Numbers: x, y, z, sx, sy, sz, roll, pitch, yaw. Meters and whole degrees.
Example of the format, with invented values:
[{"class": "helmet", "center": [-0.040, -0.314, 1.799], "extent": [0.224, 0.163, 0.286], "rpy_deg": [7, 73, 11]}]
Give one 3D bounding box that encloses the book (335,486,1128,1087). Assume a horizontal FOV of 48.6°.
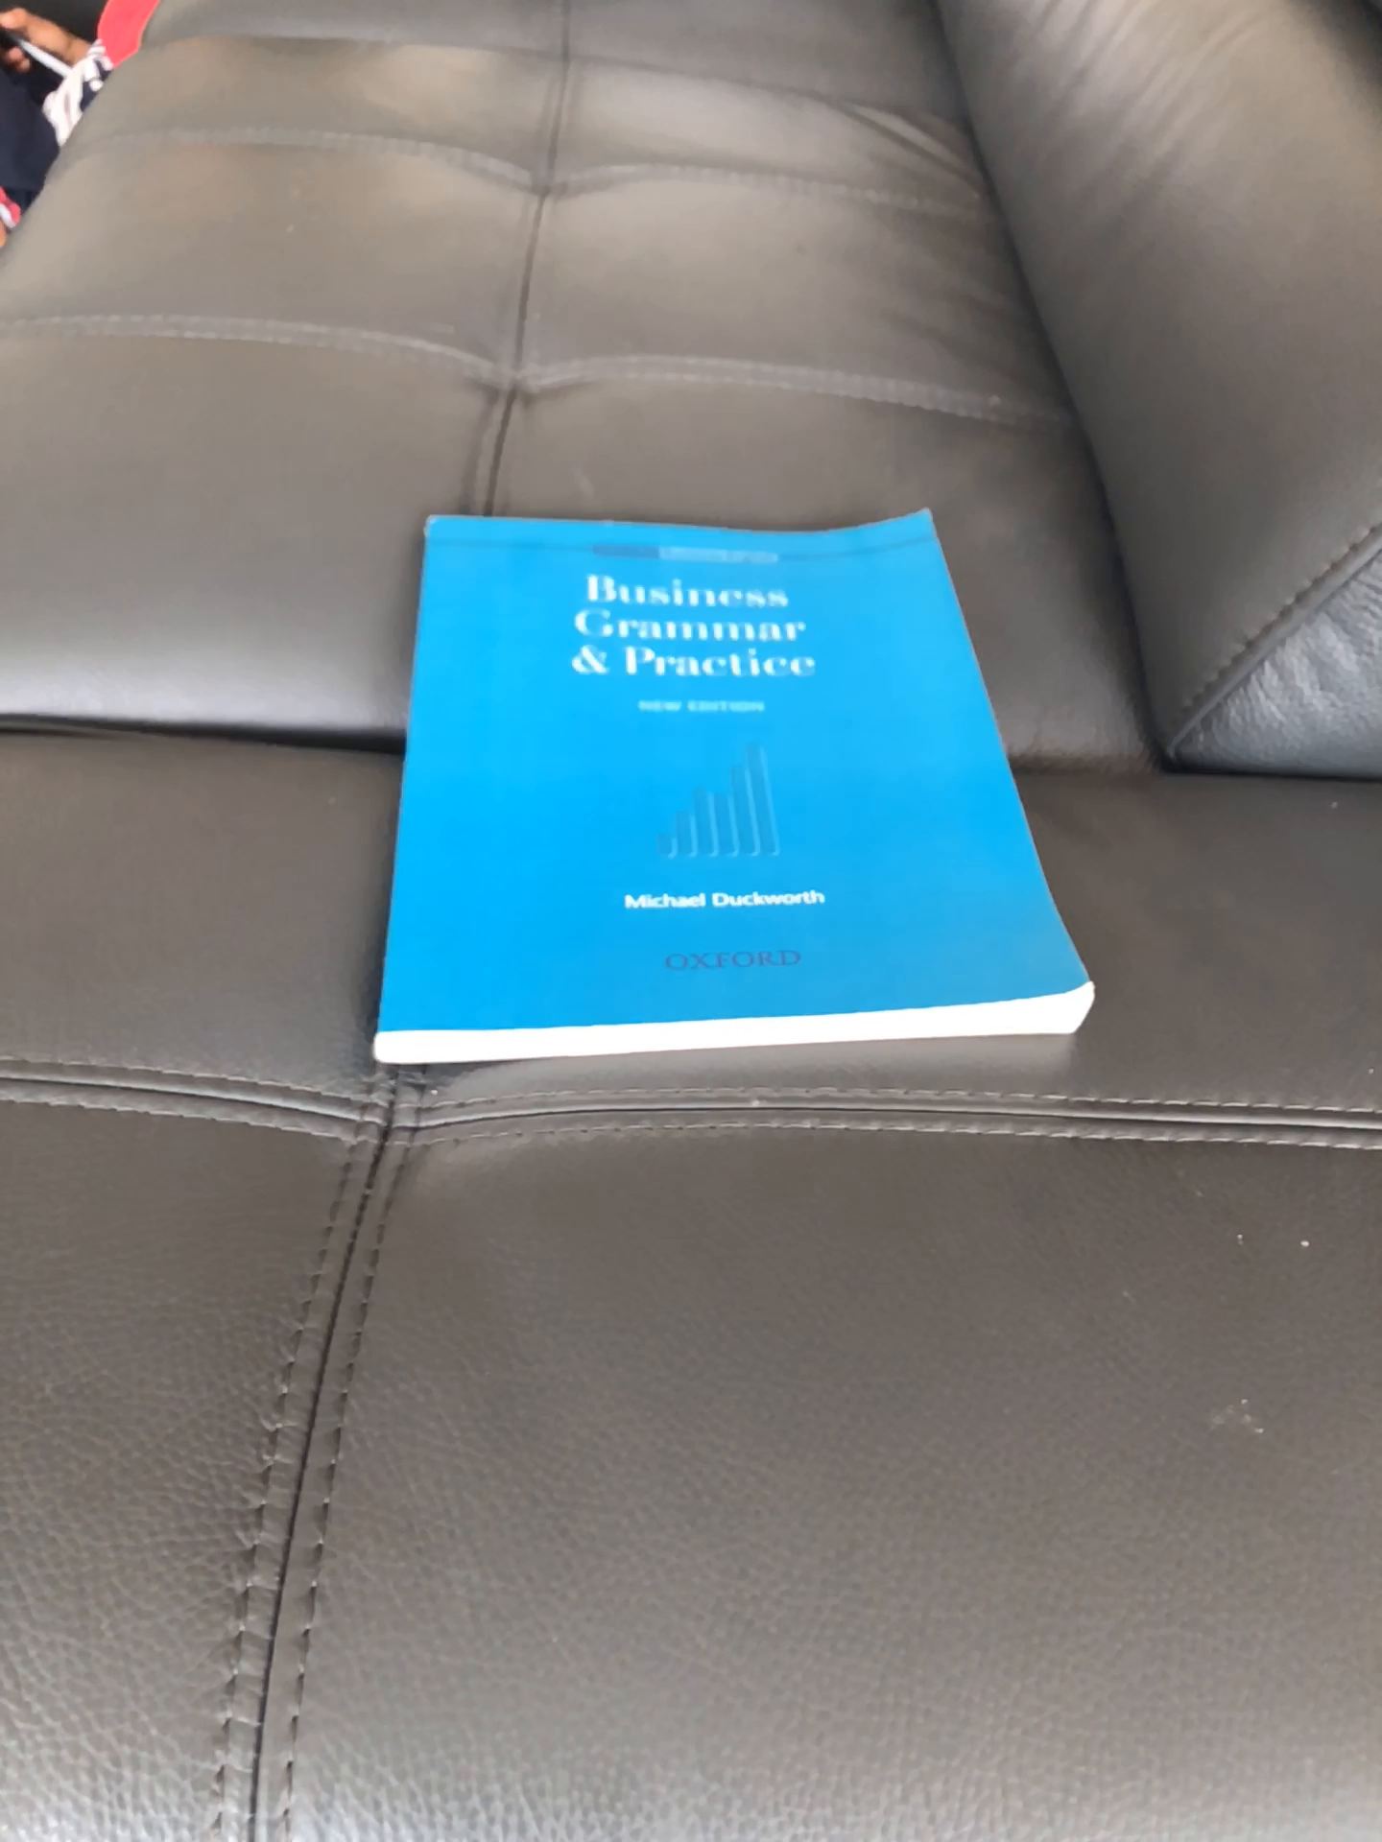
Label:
[{"class": "book", "center": [0.003, -0.067, 0.544], "extent": [0.230, 0.020, 0.281], "rpy_deg": [-3, 47, -4]}]
